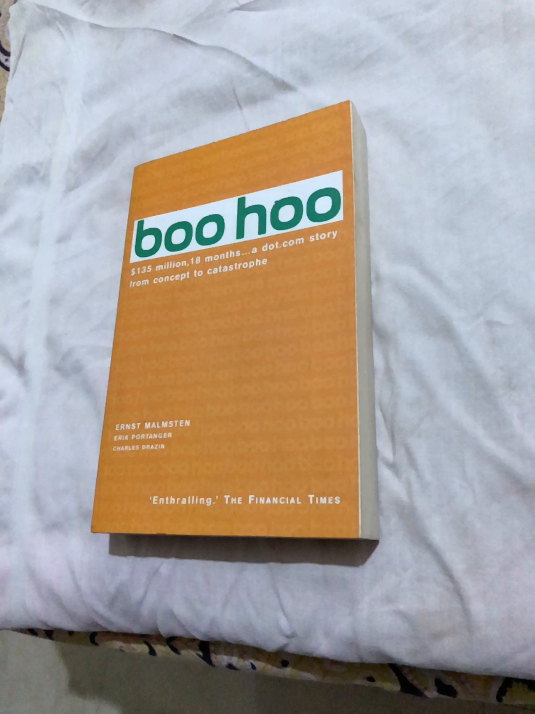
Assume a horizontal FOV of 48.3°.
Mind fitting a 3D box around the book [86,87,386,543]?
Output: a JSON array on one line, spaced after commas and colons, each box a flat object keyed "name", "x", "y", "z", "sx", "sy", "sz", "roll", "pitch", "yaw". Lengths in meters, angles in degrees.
[{"name": "book", "x": -0.015, "y": -0.016, "z": 0.292, "sx": 0.130, "sy": 0.040, "sz": 0.200, "roll": -8, "pitch": 71, "yaw": 27}]
